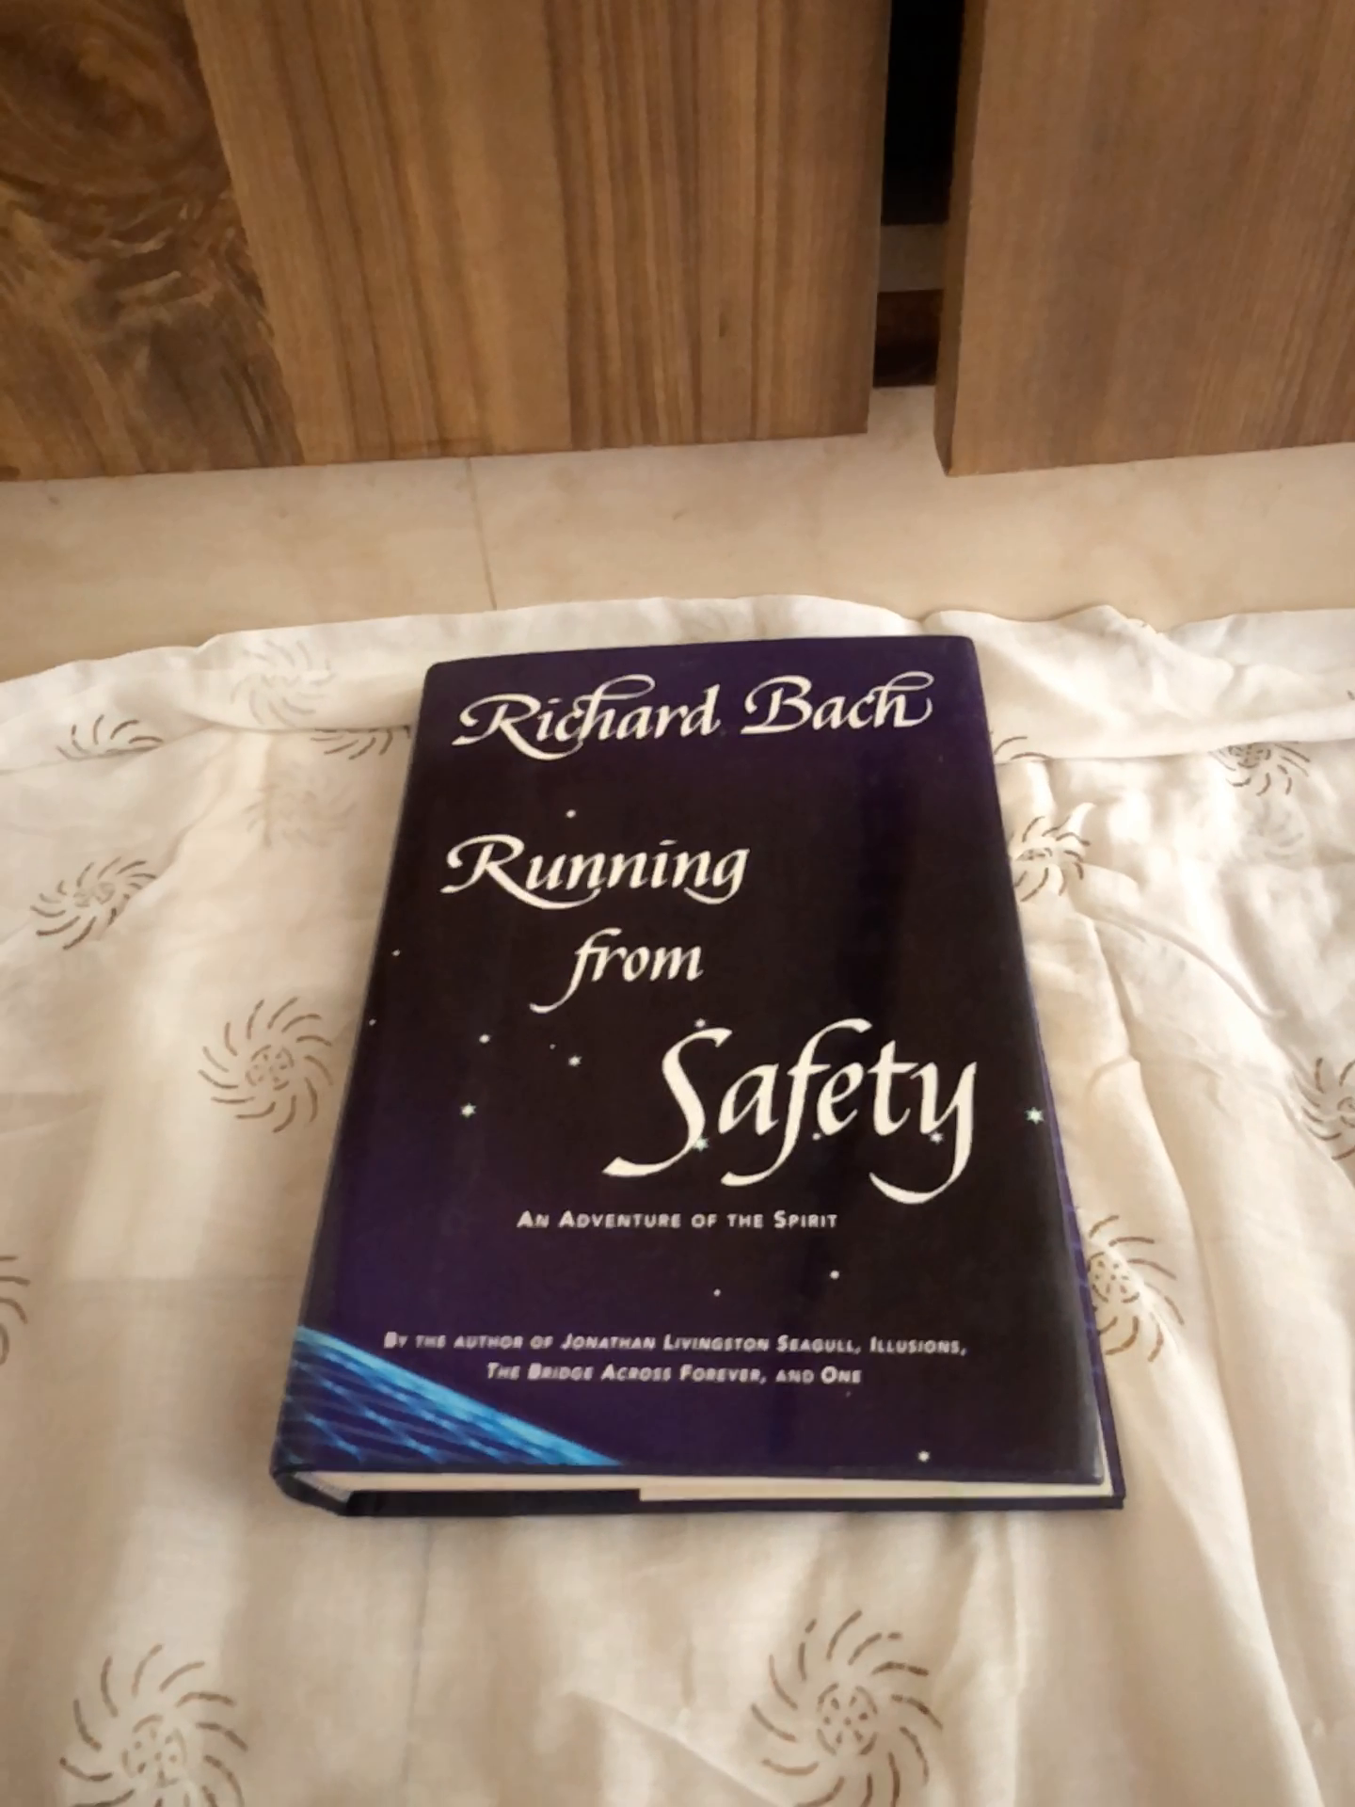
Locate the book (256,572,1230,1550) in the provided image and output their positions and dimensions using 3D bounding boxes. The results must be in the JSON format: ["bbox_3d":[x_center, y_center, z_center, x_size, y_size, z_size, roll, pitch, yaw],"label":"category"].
[{"bbox_3d":[0.013,0.016,0.359,0.170,0.040,0.251,2,48,-1],"label":"book"}]
